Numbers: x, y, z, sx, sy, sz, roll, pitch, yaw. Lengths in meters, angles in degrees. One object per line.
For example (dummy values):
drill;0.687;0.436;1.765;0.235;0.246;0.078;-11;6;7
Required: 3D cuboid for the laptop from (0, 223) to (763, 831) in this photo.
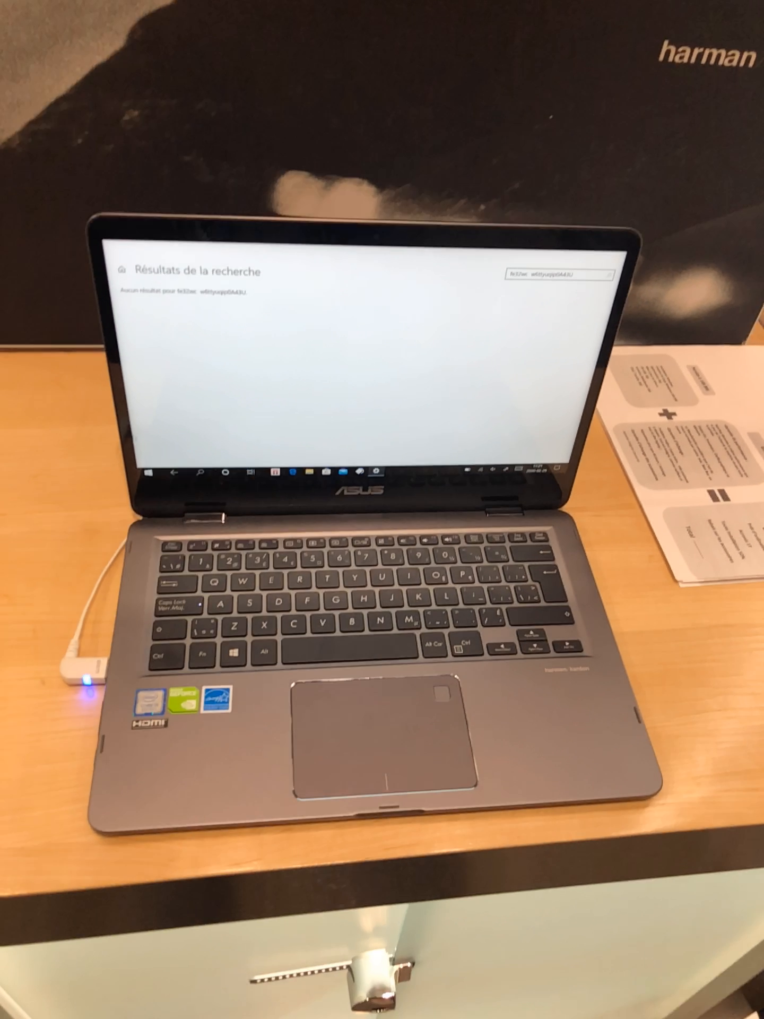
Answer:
laptop;0.002;0.006;0.474;0.320;0.224;0.240;-1;47;-8
